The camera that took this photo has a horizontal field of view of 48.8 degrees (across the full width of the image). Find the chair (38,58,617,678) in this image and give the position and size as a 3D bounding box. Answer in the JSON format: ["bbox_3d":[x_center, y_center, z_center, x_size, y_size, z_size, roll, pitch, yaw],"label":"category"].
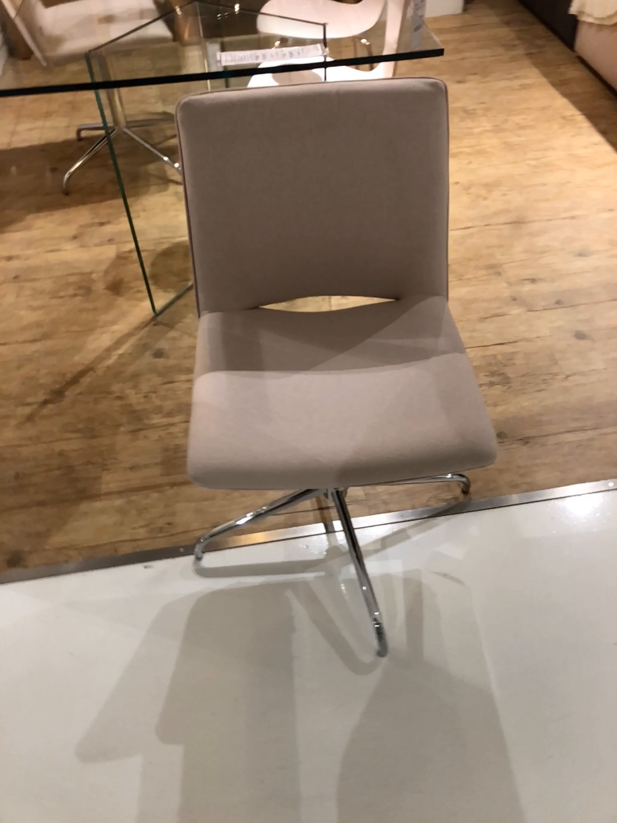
[{"bbox_3d":[0.053,-0.056,1.139,0.650,0.745,0.635,-6,46,-2],"label":"chair"}]
